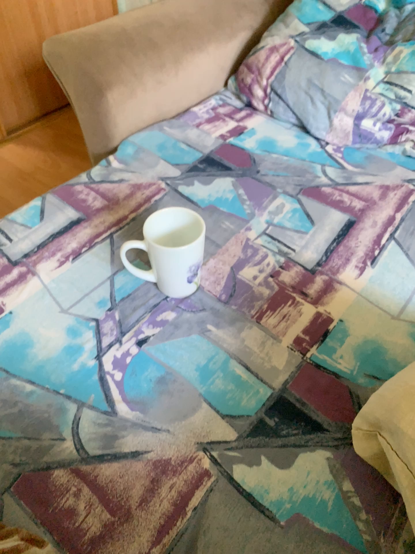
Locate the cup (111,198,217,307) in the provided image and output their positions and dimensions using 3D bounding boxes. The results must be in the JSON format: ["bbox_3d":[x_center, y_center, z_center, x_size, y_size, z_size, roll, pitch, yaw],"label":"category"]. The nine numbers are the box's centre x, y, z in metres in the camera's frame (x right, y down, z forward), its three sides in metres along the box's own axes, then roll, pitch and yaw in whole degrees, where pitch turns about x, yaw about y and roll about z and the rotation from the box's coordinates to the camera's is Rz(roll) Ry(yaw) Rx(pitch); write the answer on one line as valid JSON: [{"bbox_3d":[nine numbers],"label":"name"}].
[{"bbox_3d":[-0.056,-0.033,0.561,0.120,0.099,0.081,-9,45,-8],"label":"cup"}]
